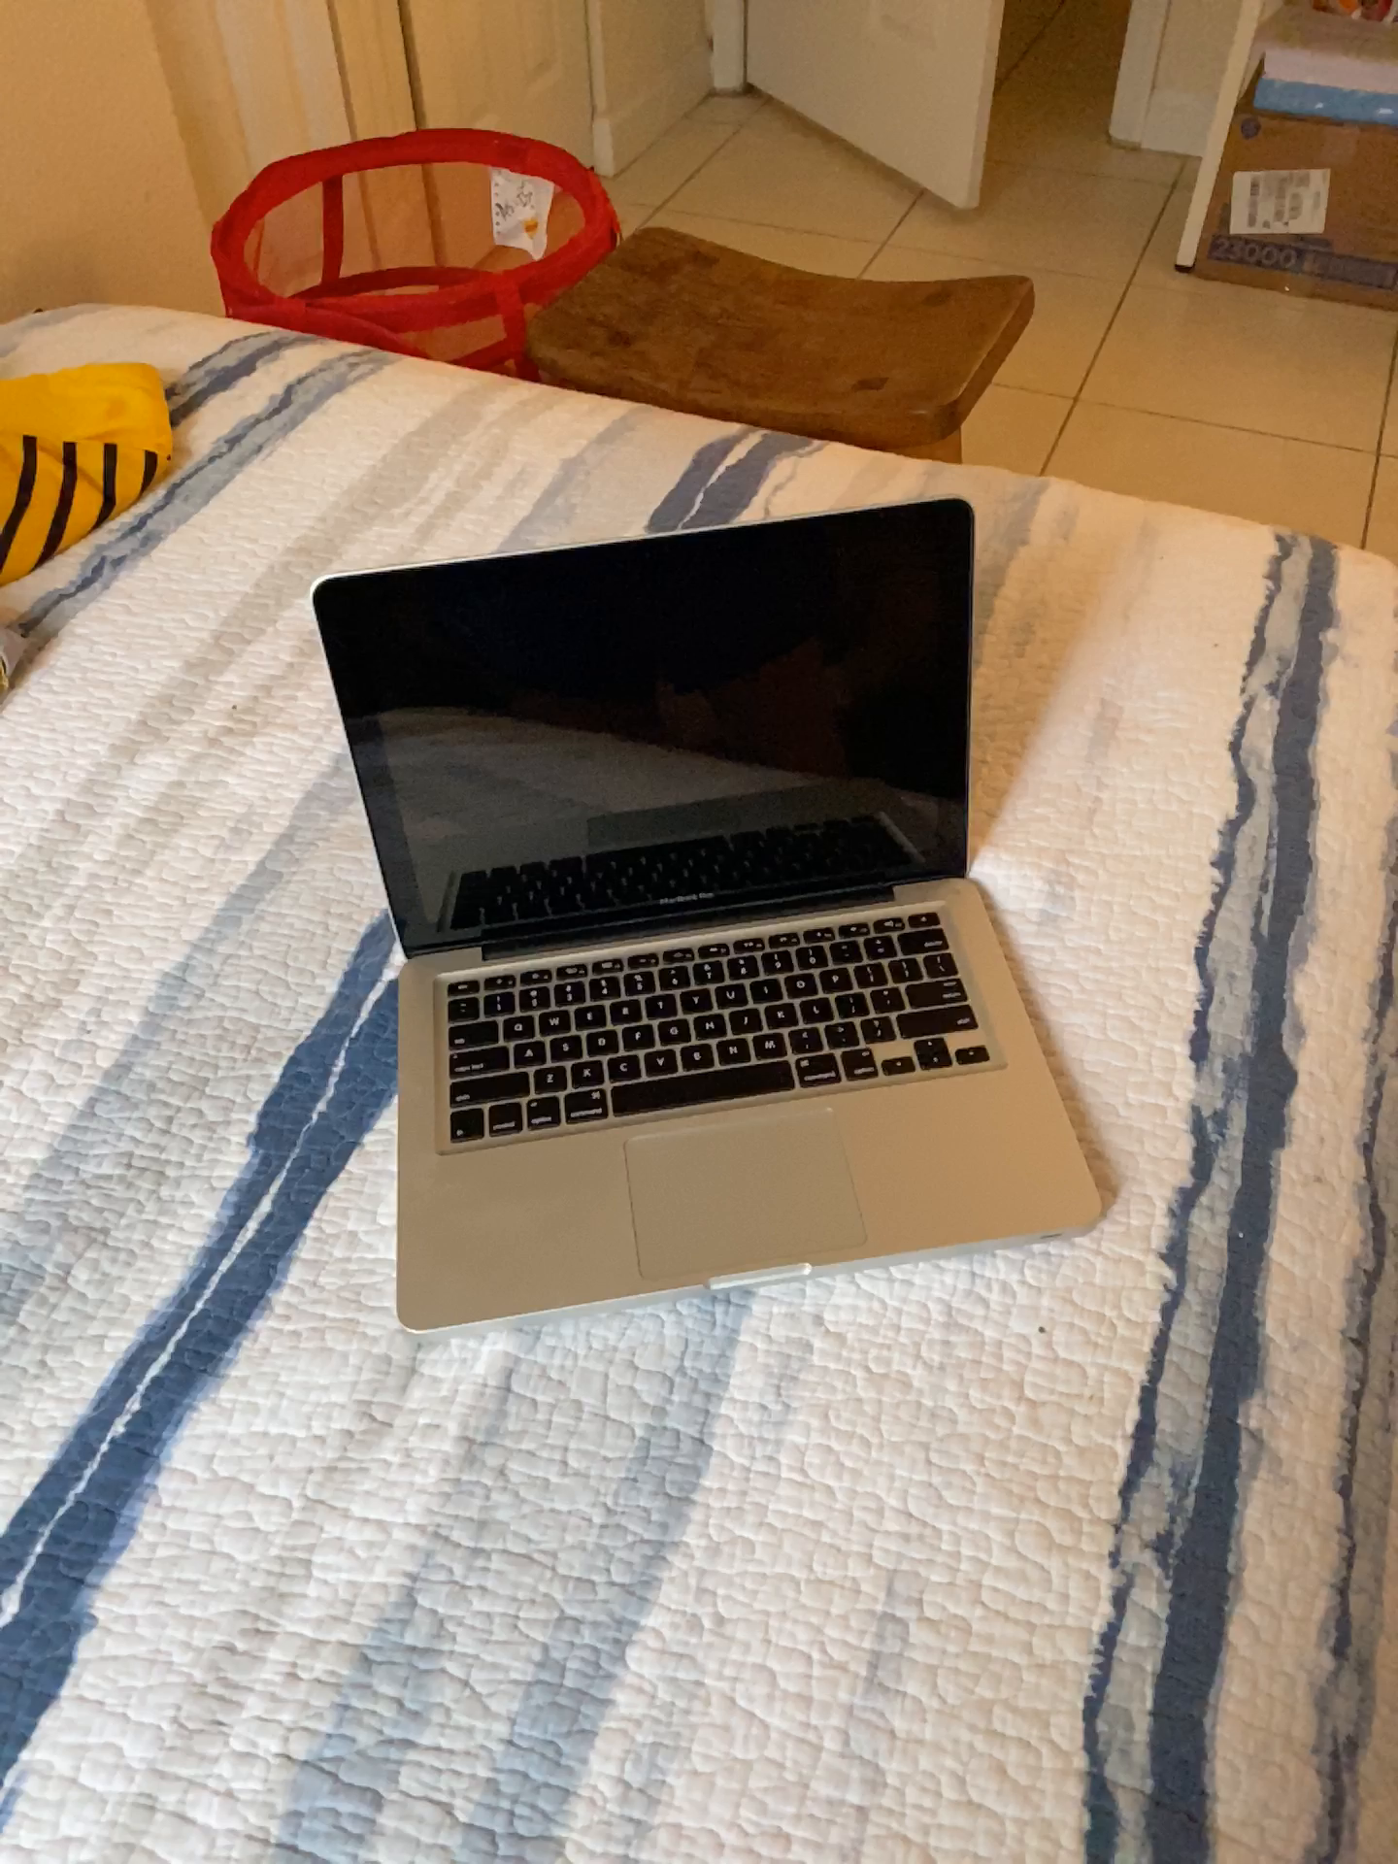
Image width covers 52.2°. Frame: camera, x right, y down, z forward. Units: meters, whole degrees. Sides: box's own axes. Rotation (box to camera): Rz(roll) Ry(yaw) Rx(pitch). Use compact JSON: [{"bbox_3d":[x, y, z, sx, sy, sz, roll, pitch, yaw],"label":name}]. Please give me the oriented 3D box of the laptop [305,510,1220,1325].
[{"bbox_3d":[0.005,-0.016,0.658,0.318,0.199,0.279,-8,47,-4],"label":"laptop"}]
